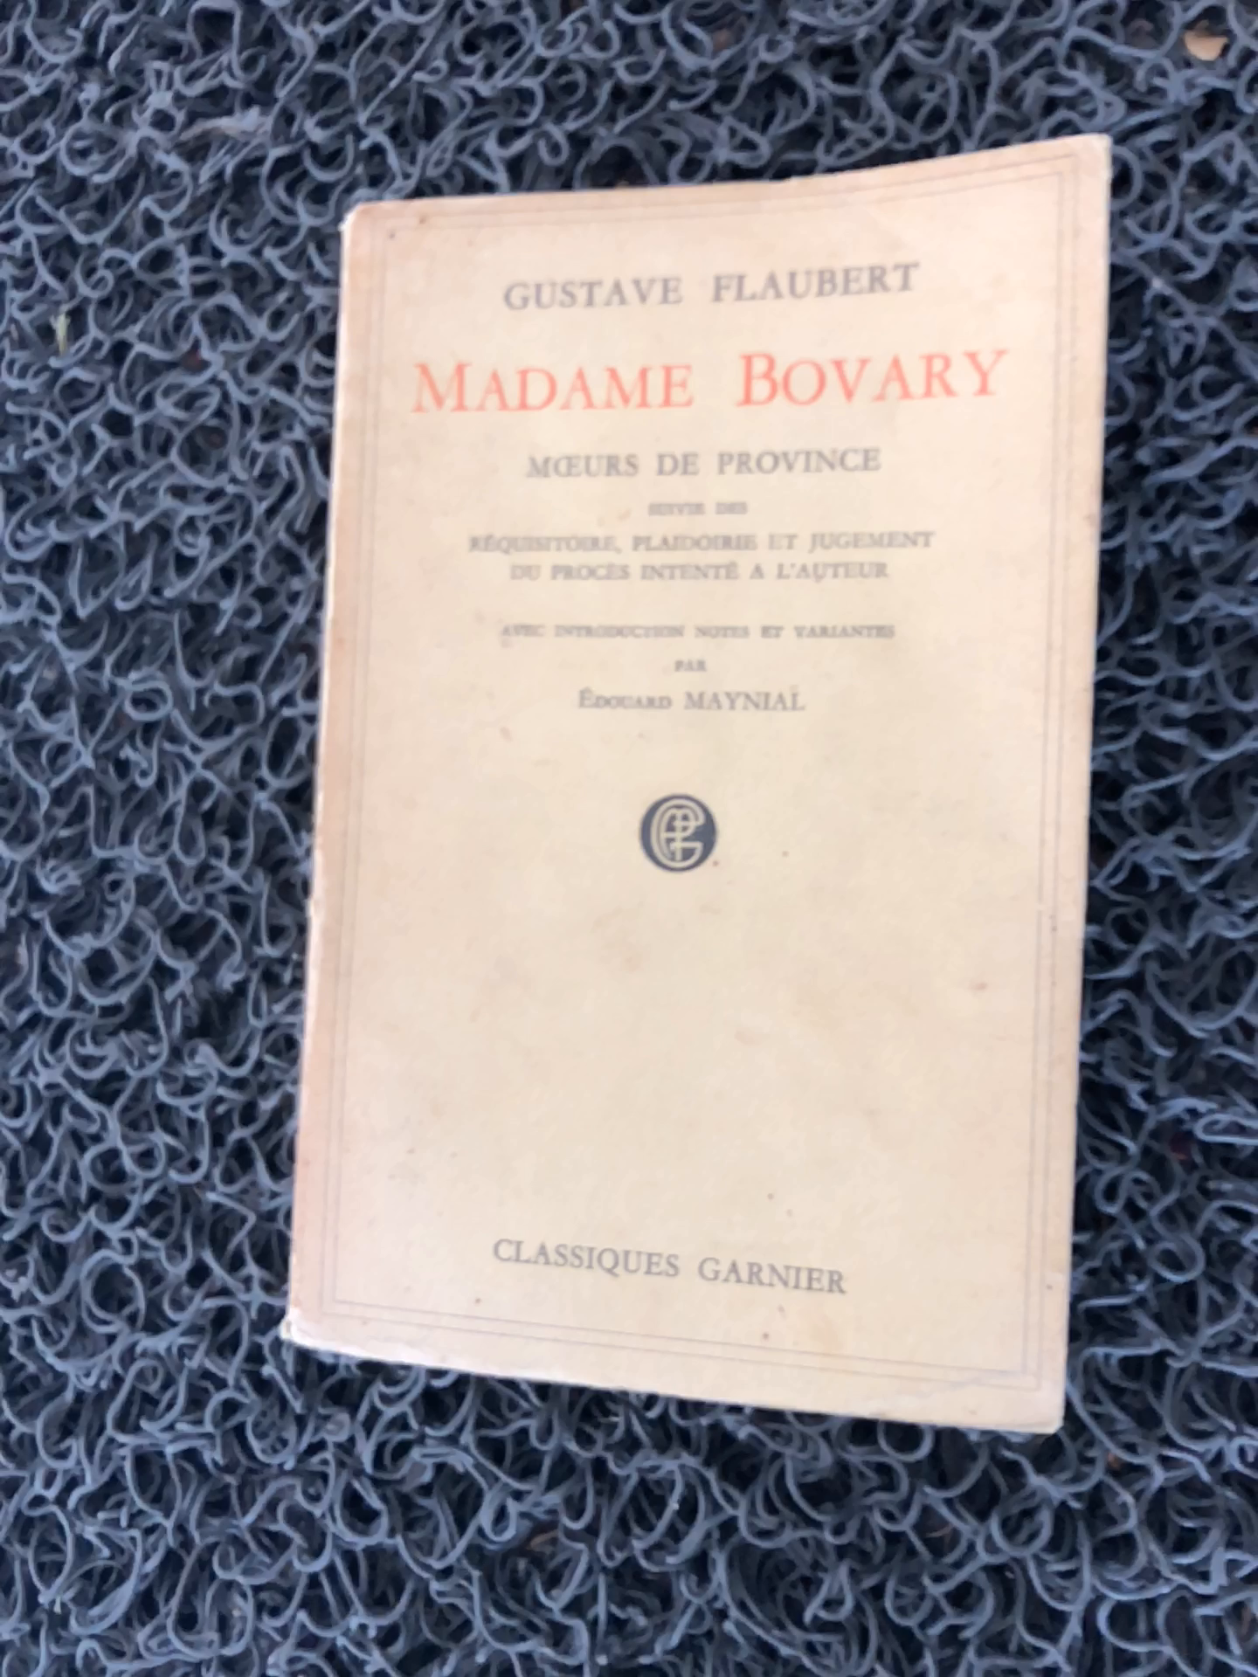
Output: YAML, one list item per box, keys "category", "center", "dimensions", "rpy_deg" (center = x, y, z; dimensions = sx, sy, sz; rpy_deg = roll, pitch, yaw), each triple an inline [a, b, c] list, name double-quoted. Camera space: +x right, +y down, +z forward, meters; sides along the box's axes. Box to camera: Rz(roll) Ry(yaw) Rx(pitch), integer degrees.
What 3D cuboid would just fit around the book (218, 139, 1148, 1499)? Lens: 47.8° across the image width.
- category: "book"
  center: [0.009, -0.006, 0.216]
  dimensions: [0.124, 0.035, 0.180]
  rpy_deg: [2, 87, 11]
